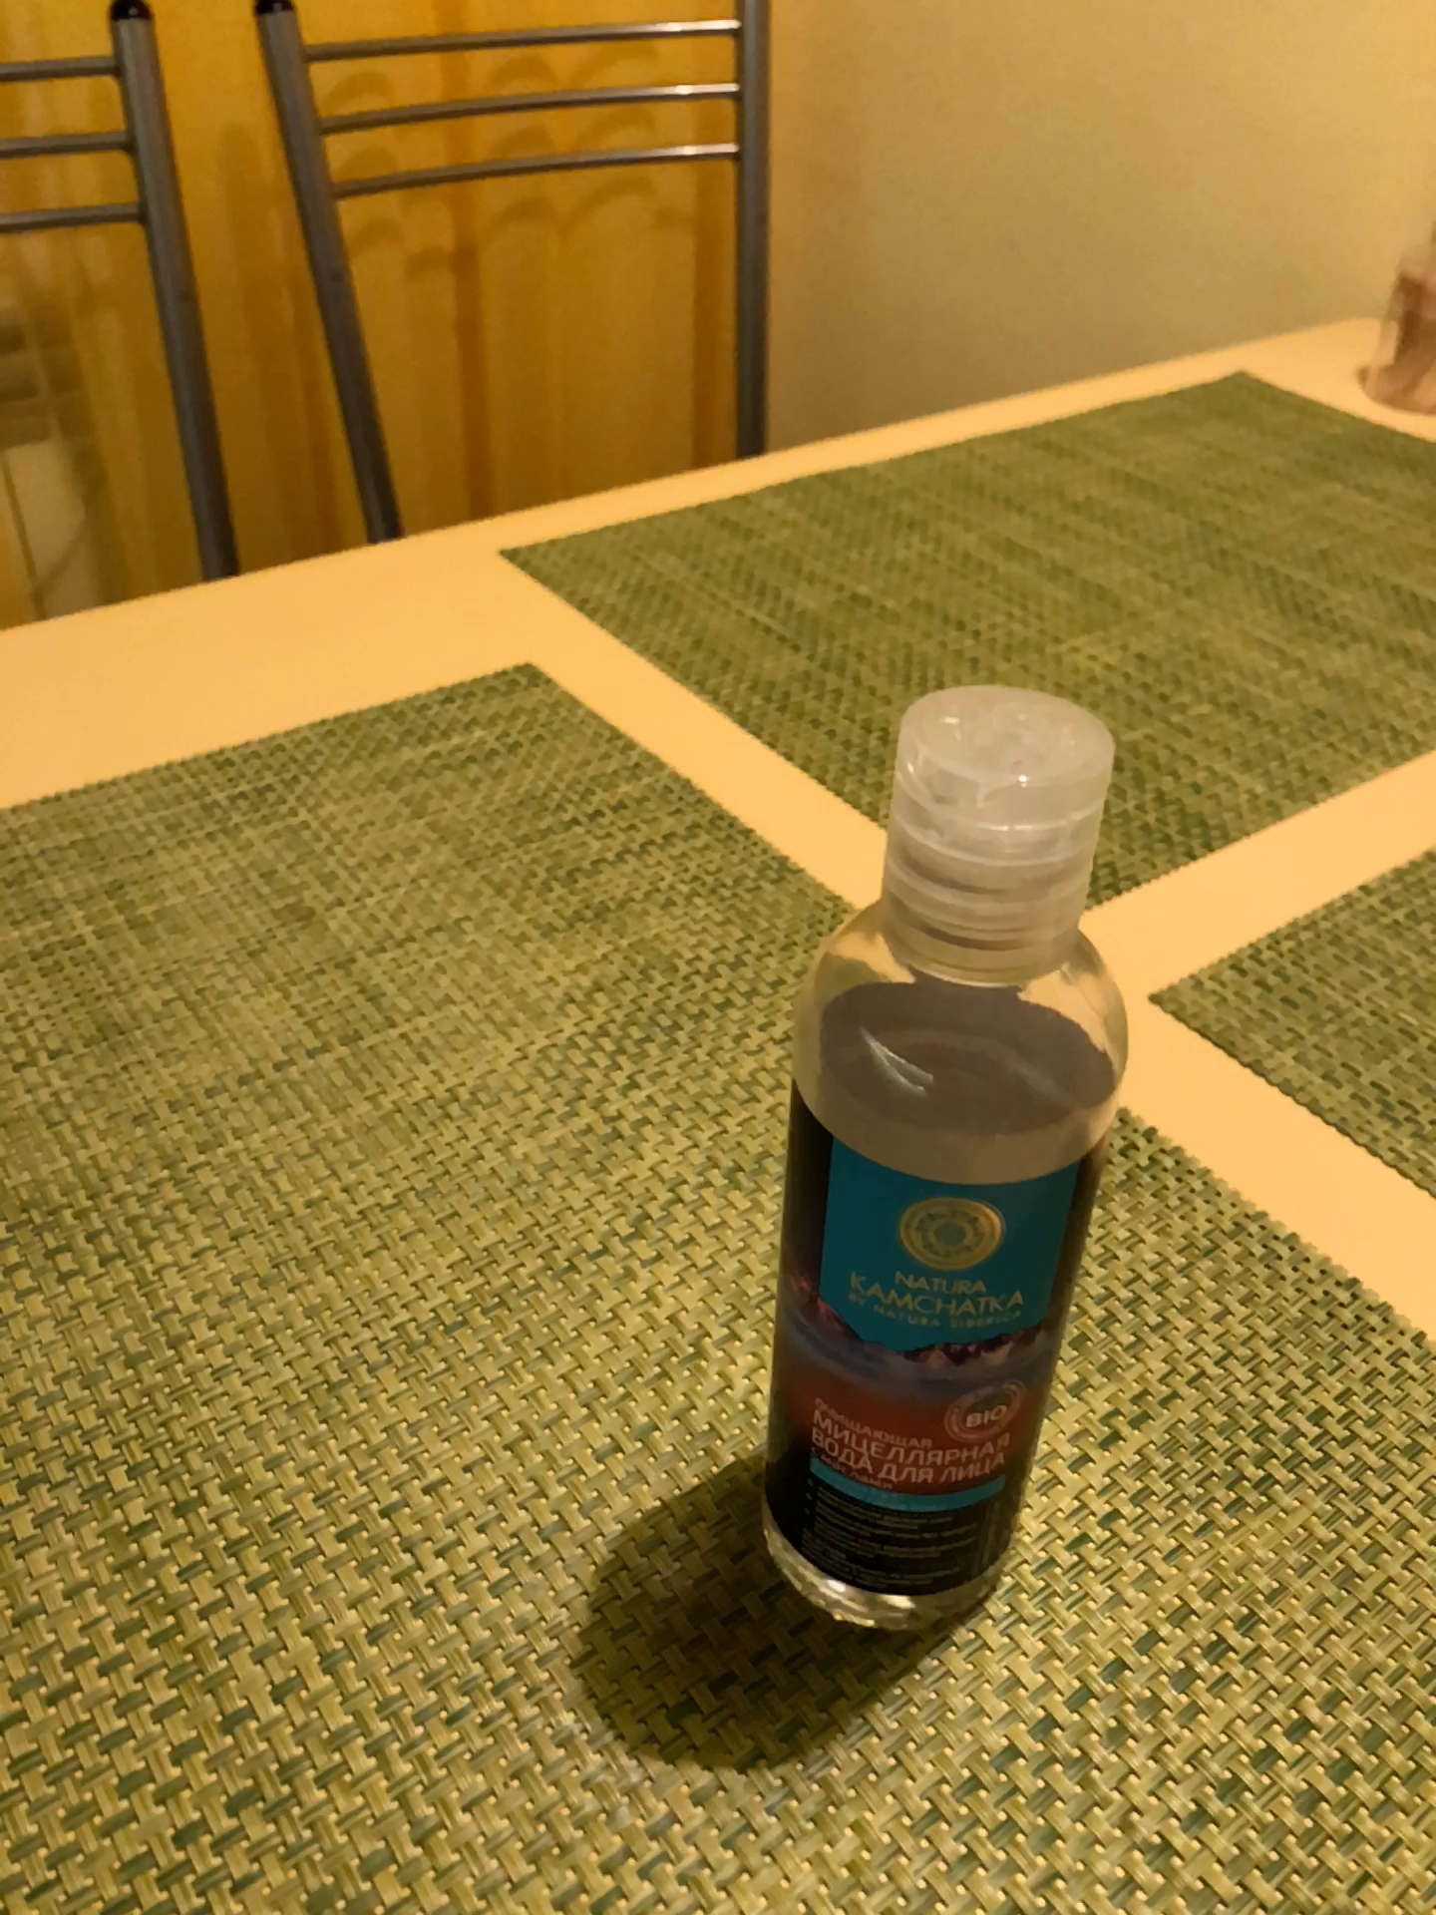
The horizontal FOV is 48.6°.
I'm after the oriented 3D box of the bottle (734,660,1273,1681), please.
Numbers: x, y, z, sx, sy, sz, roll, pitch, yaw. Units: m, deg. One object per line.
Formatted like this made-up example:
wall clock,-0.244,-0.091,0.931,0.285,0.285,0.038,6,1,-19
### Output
bottle,0.035,0.039,0.237,0.050,0.149,0.054,2,37,-1
